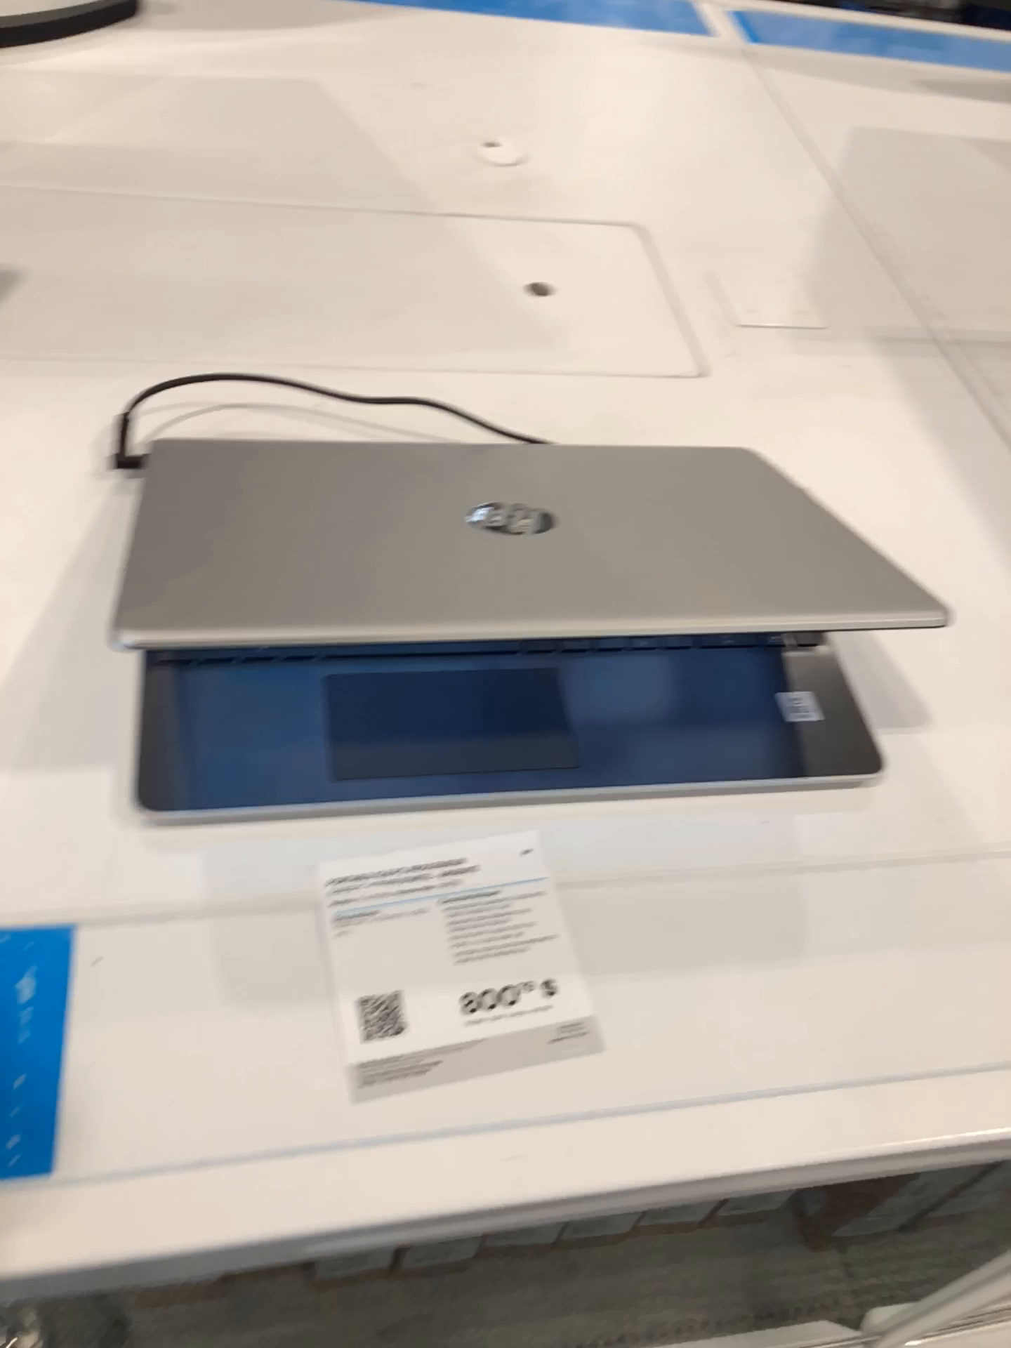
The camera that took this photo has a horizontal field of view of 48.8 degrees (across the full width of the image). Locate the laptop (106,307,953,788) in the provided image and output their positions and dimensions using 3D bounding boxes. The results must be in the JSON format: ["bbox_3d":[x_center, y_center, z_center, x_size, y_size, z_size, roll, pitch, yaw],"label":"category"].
[{"bbox_3d":[-0.002,-0.072,0.543,0.341,0.086,0.229,-2,50,-11],"label":"laptop"}]
